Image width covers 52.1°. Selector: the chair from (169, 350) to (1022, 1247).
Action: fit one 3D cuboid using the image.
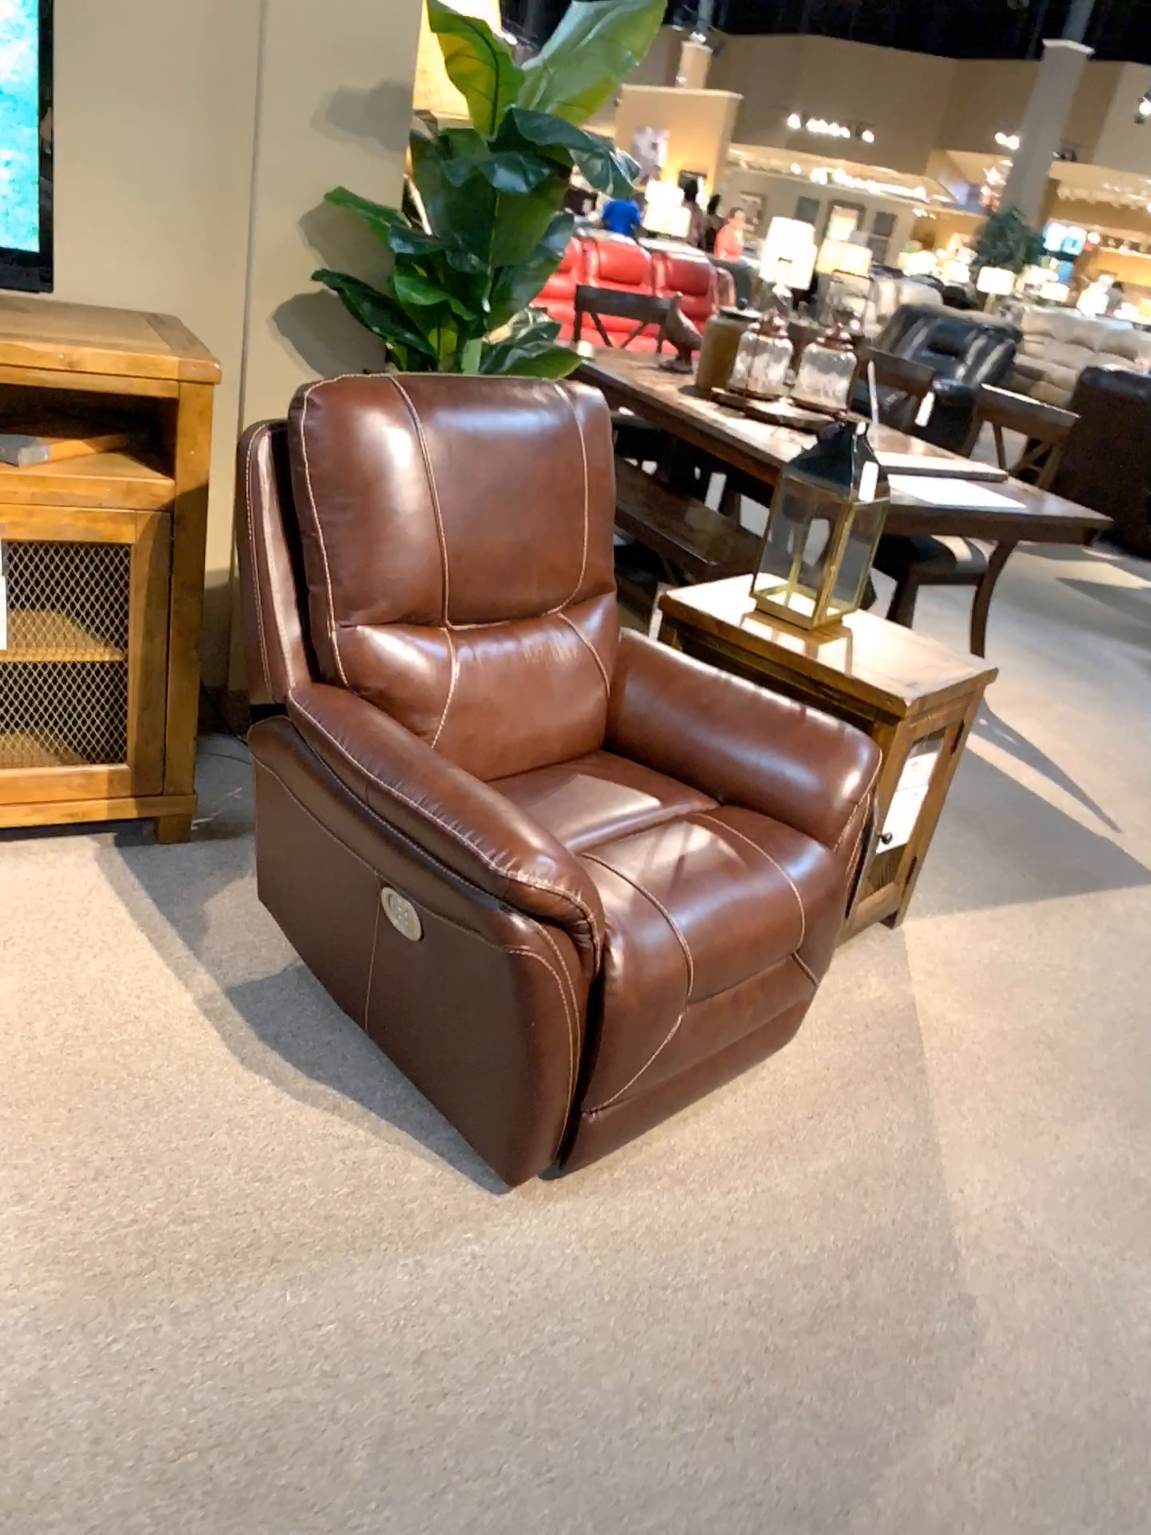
[{"bbox_3d":[-0.031,-0.061,1.947,0.914,0.974,0.850,32,32,35],"label":"chair"}]
